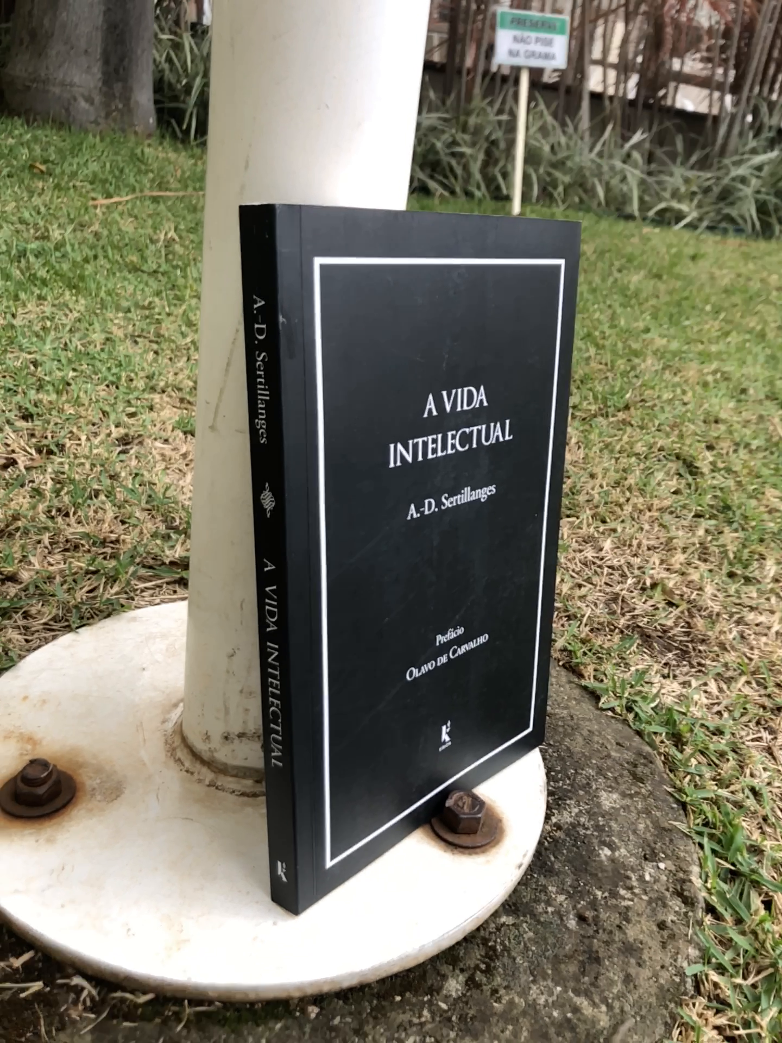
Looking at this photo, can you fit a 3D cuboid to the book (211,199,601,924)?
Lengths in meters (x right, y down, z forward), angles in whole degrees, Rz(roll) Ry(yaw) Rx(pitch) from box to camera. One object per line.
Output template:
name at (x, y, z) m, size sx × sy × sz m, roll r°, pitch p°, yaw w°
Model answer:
book at (0.014, 0.004, 0.276) m, size 0.025 × 0.193 × 0.141 m, roll 14°, pitch 21°, yaw 41°
